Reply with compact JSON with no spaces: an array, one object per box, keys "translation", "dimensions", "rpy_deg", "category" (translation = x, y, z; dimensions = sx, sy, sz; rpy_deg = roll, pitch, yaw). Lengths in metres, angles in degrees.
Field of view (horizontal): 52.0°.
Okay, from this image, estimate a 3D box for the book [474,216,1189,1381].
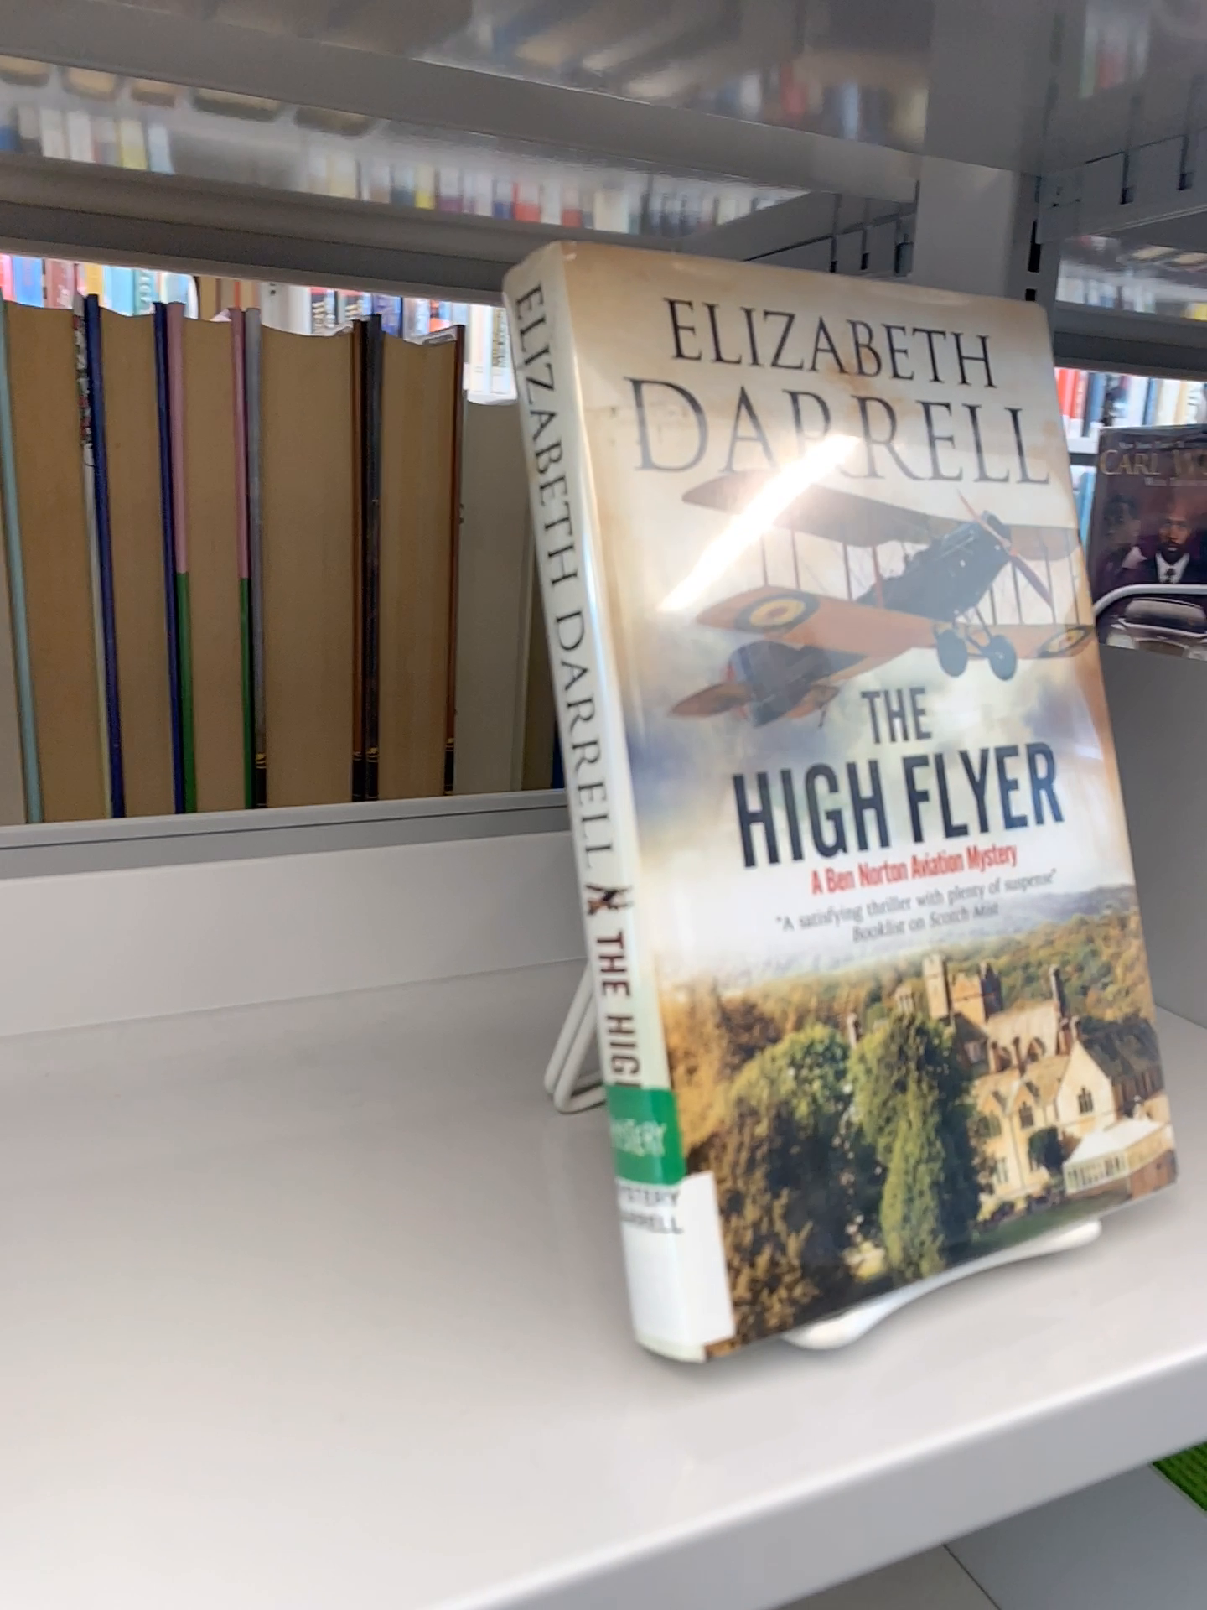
[{"translation":[0.058,-0.009,0.279],"dimensions":[0.151,0.214,0.031],"rpy_deg":[-6,-2,-31],"category":"book"}]
